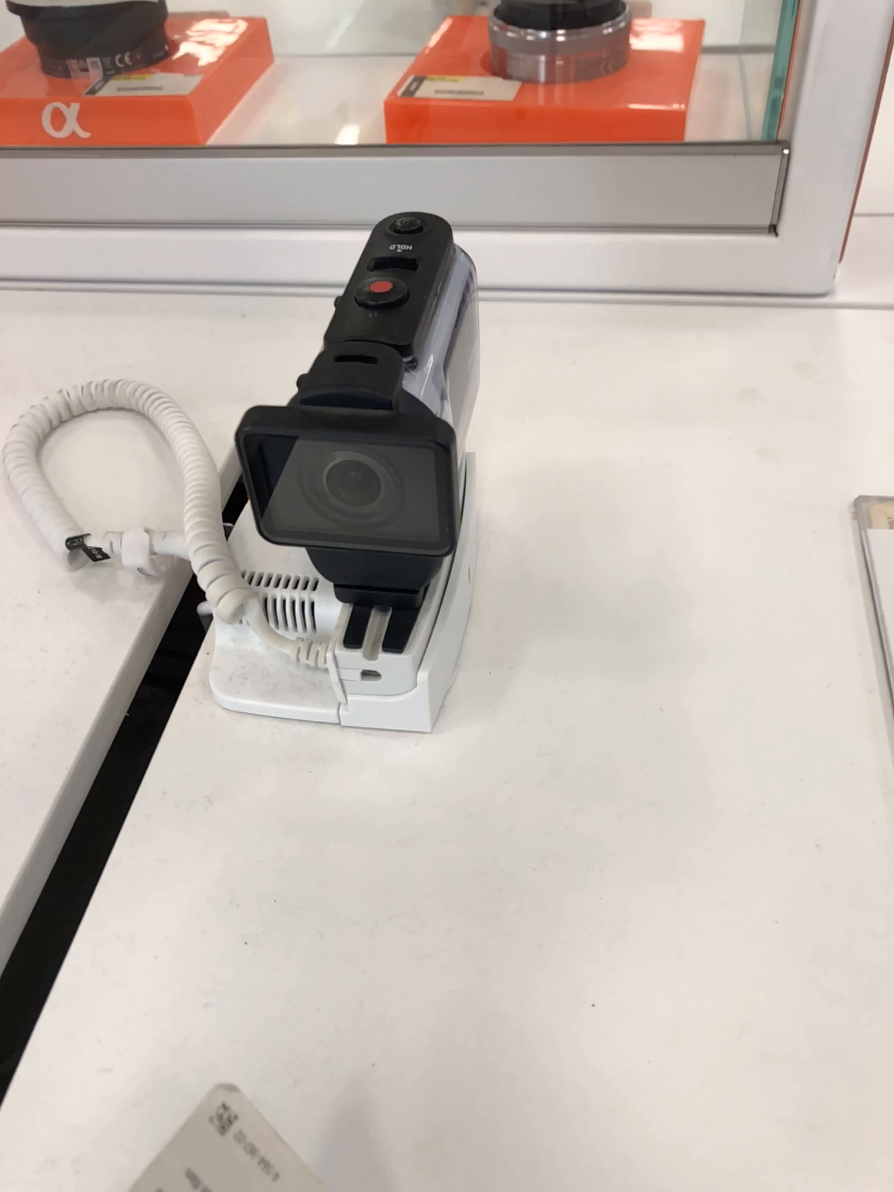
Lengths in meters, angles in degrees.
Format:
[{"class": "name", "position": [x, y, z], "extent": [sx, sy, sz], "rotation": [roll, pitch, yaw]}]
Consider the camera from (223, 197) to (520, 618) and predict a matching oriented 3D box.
[{"class": "camera", "position": [-0.011, -0.049, 0.246], "extent": [0.050, 0.060, 0.090], "rotation": [3, 45, 8]}]
